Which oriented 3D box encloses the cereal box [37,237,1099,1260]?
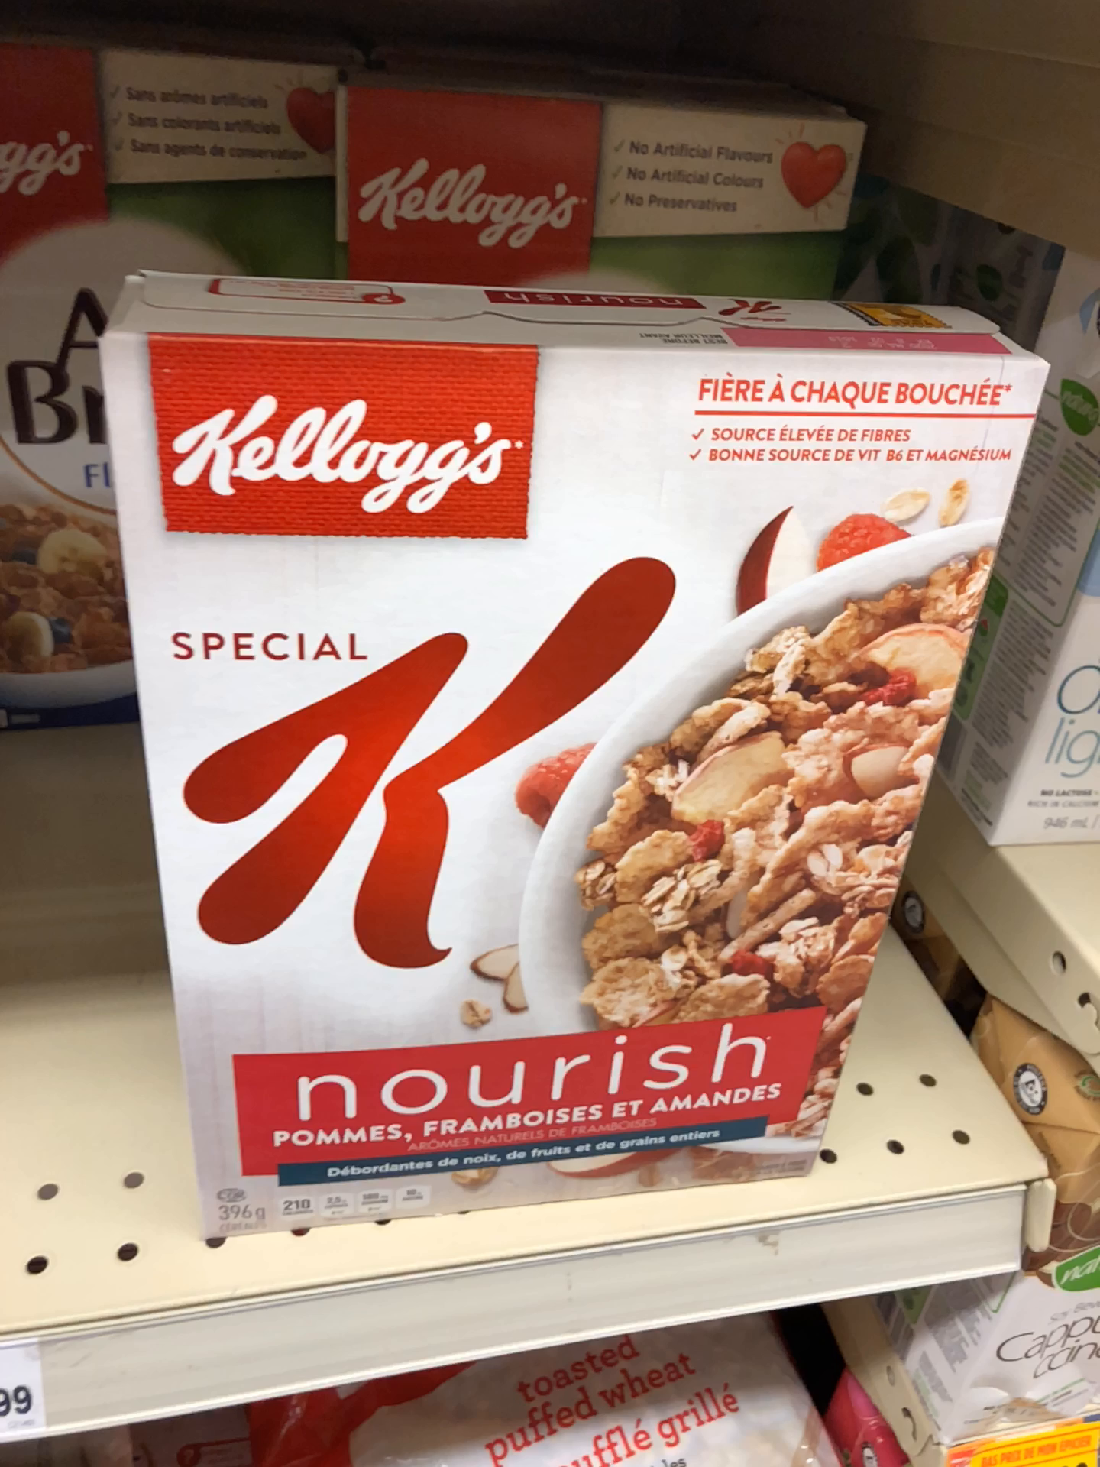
[{"bbox_3d":[-0.002,0.018,0.308,0.200,0.248,0.060,-1,32,-11],"label":"cereal box"}]
